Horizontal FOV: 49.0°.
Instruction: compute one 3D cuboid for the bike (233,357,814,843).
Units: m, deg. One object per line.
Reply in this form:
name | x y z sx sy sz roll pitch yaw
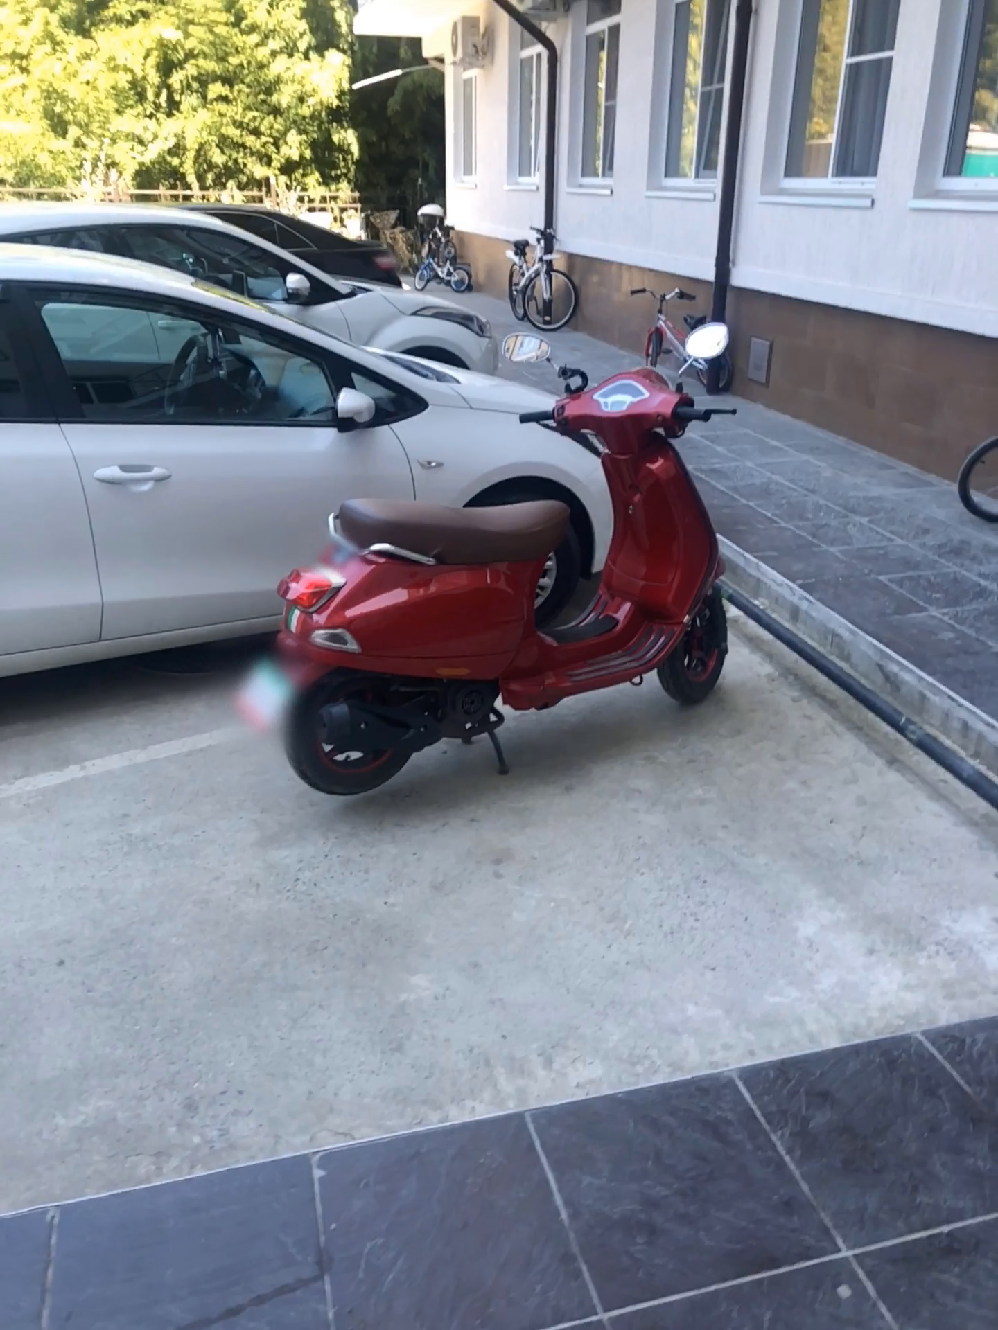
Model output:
bike | 0.115 -0.285 3.154 1.595 0.951 0.536 -16 28 -31
